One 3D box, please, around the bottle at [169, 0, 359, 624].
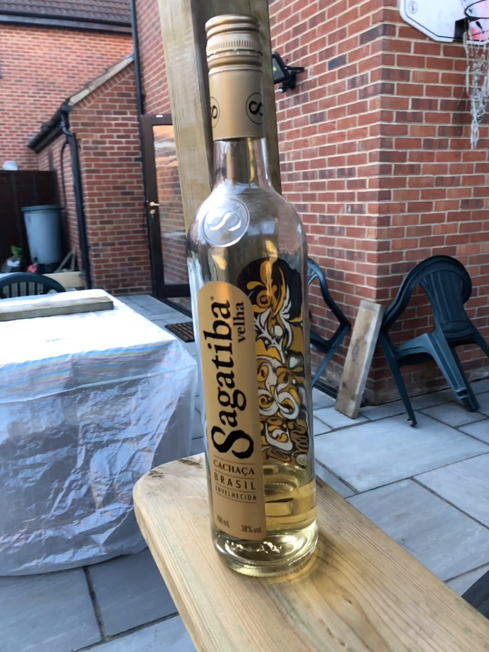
[{"bbox_3d":[0.015,-0.001,0.318,0.080,0.329,0.060,7,15,33],"label":"bottle"}]
